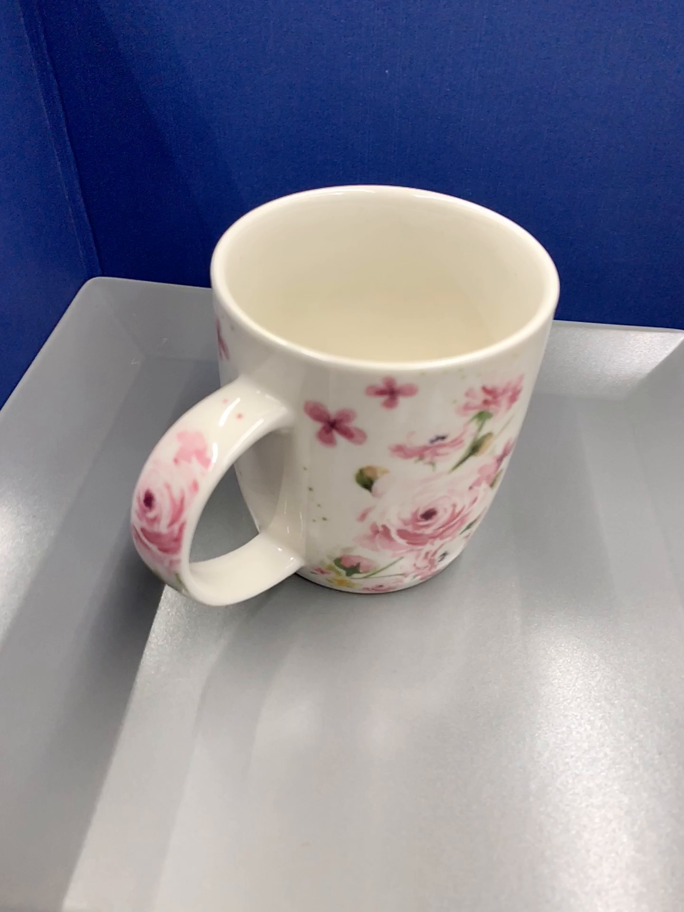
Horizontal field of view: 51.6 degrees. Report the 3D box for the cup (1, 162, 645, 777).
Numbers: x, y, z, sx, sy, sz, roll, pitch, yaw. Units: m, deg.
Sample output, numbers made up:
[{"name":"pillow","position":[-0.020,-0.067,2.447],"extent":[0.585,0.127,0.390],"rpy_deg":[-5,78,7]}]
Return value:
[{"name":"cup","position":[-0.002,-0.006,0.181],"extent":[0.110,0.087,0.085],"rpy_deg":[-31,51,-31]}]
